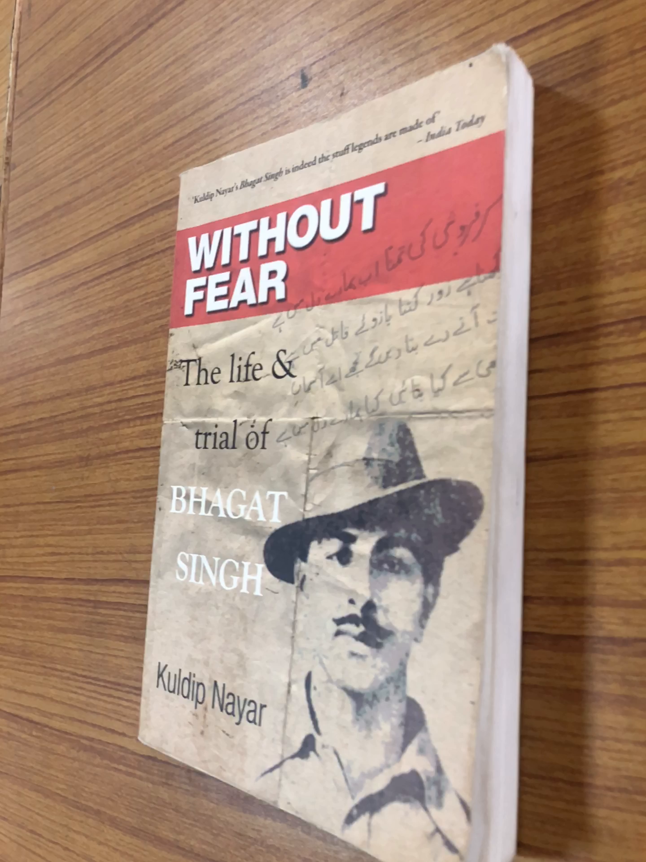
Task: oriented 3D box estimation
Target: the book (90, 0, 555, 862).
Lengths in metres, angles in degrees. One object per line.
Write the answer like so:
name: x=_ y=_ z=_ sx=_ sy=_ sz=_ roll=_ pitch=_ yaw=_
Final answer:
book: x=-0.008 y=0.002 z=0.214 sx=0.141 sy=0.030 sz=0.210 roll=-2 pitch=83 yaw=41
